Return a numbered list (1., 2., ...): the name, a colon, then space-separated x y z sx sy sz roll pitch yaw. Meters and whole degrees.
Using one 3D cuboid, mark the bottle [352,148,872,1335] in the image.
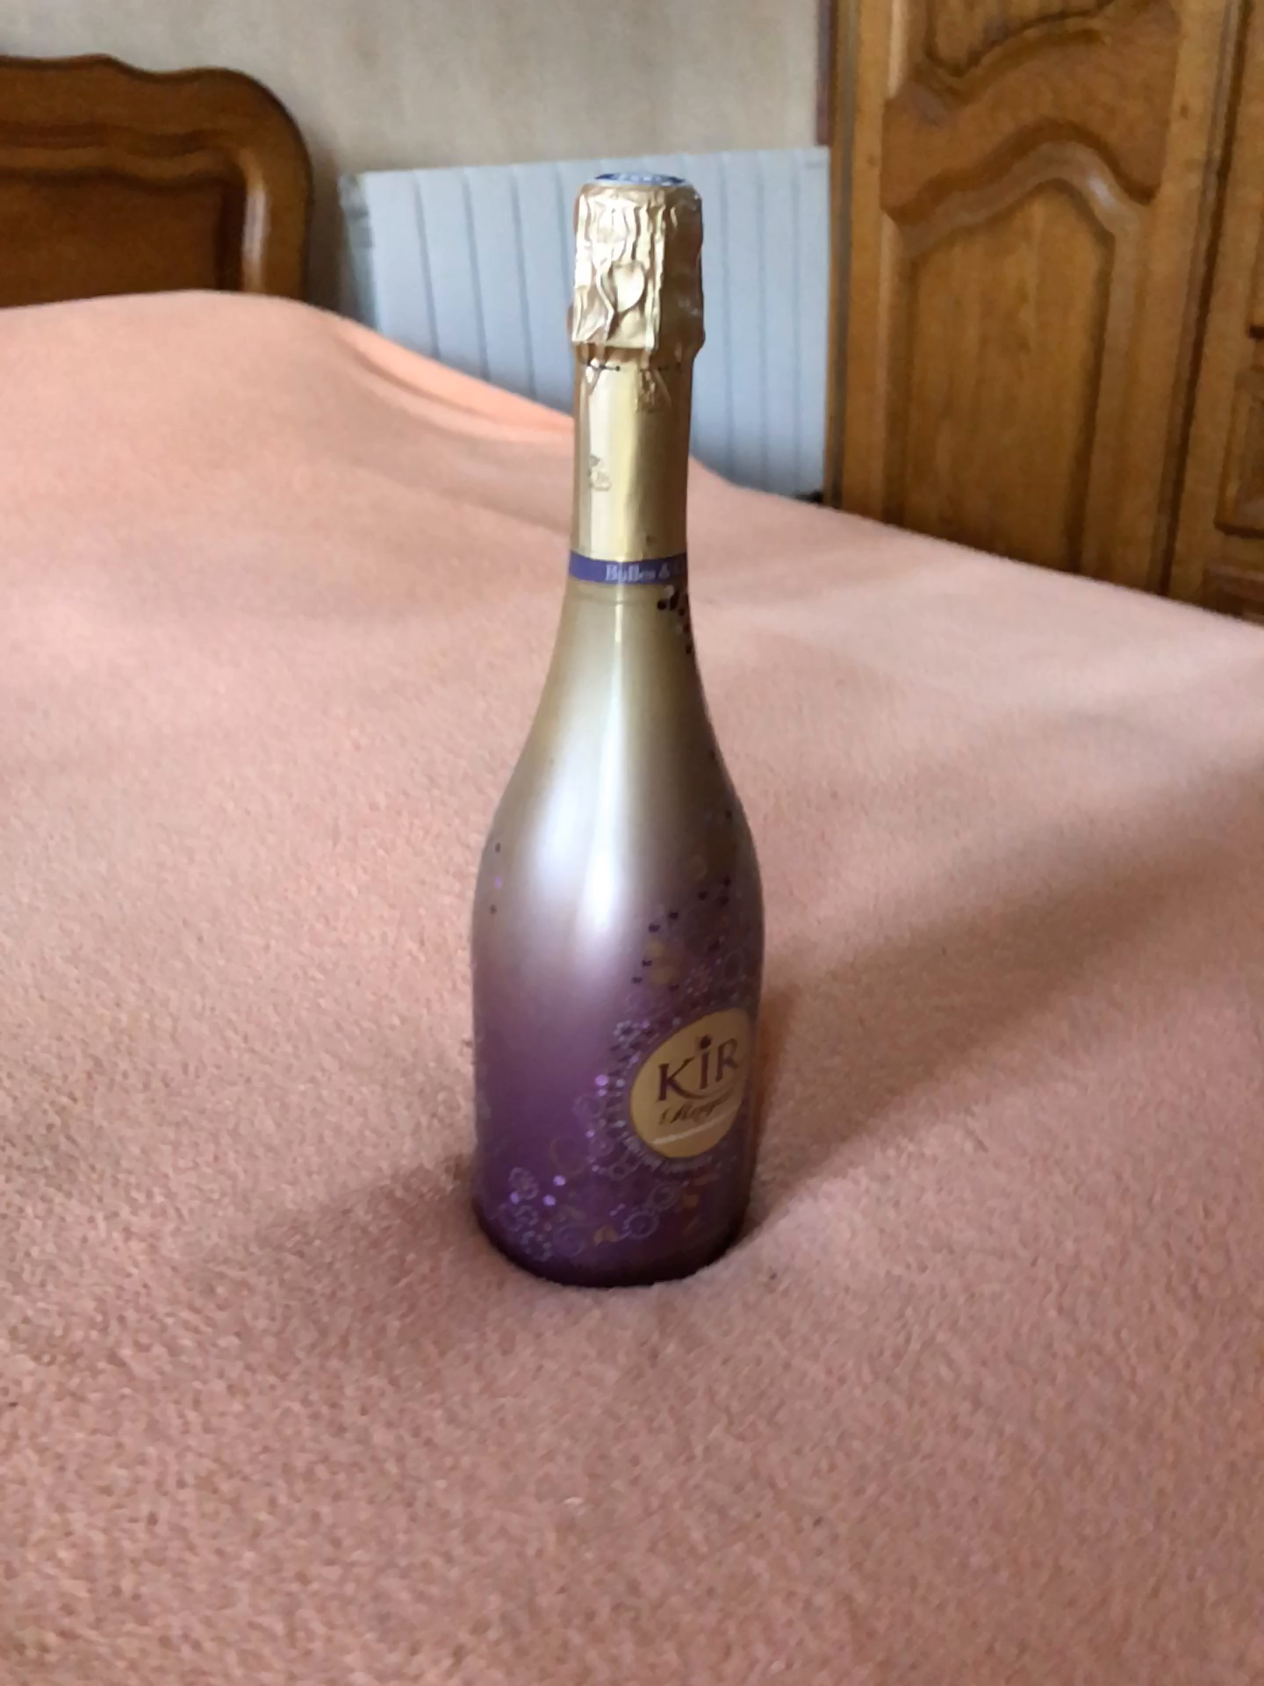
1. bottle: -0.005 -0.024 0.399 0.090 0.308 0.090 -1 24 0
